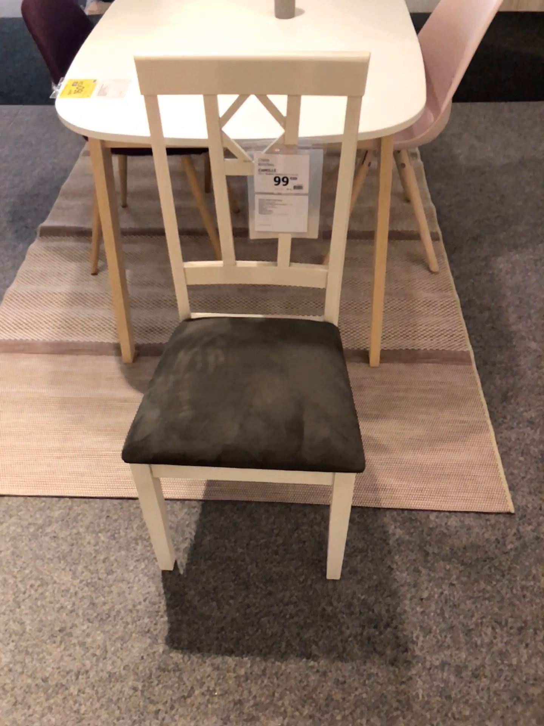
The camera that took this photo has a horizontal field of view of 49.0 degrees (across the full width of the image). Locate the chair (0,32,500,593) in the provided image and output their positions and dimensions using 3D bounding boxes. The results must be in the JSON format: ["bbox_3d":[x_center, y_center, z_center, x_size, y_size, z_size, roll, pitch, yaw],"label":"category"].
[{"bbox_3d":[-0.005,-0.046,1.101,0.510,0.855,0.563,2,46,3],"label":"chair"}]
